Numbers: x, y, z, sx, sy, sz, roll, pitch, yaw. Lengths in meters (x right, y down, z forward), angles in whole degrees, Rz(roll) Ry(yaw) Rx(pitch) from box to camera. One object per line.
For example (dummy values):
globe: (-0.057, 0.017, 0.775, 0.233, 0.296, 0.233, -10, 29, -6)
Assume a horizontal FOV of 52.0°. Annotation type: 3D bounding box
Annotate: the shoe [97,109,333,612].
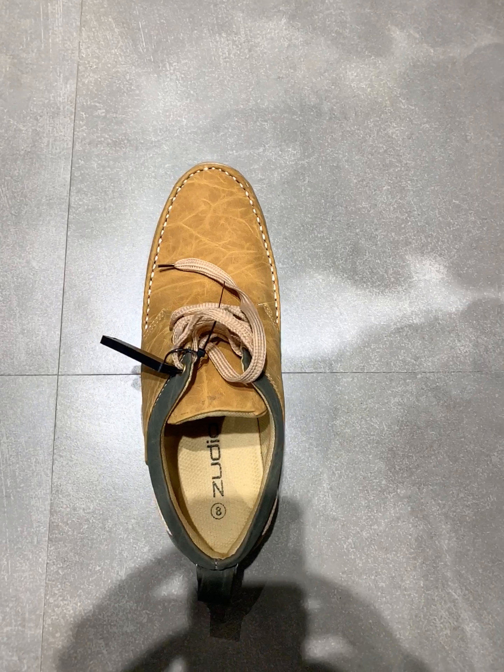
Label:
shoe: (-0.028, 0.010, 0.331, 0.111, 0.117, 0.267, -2, 77, -5)
